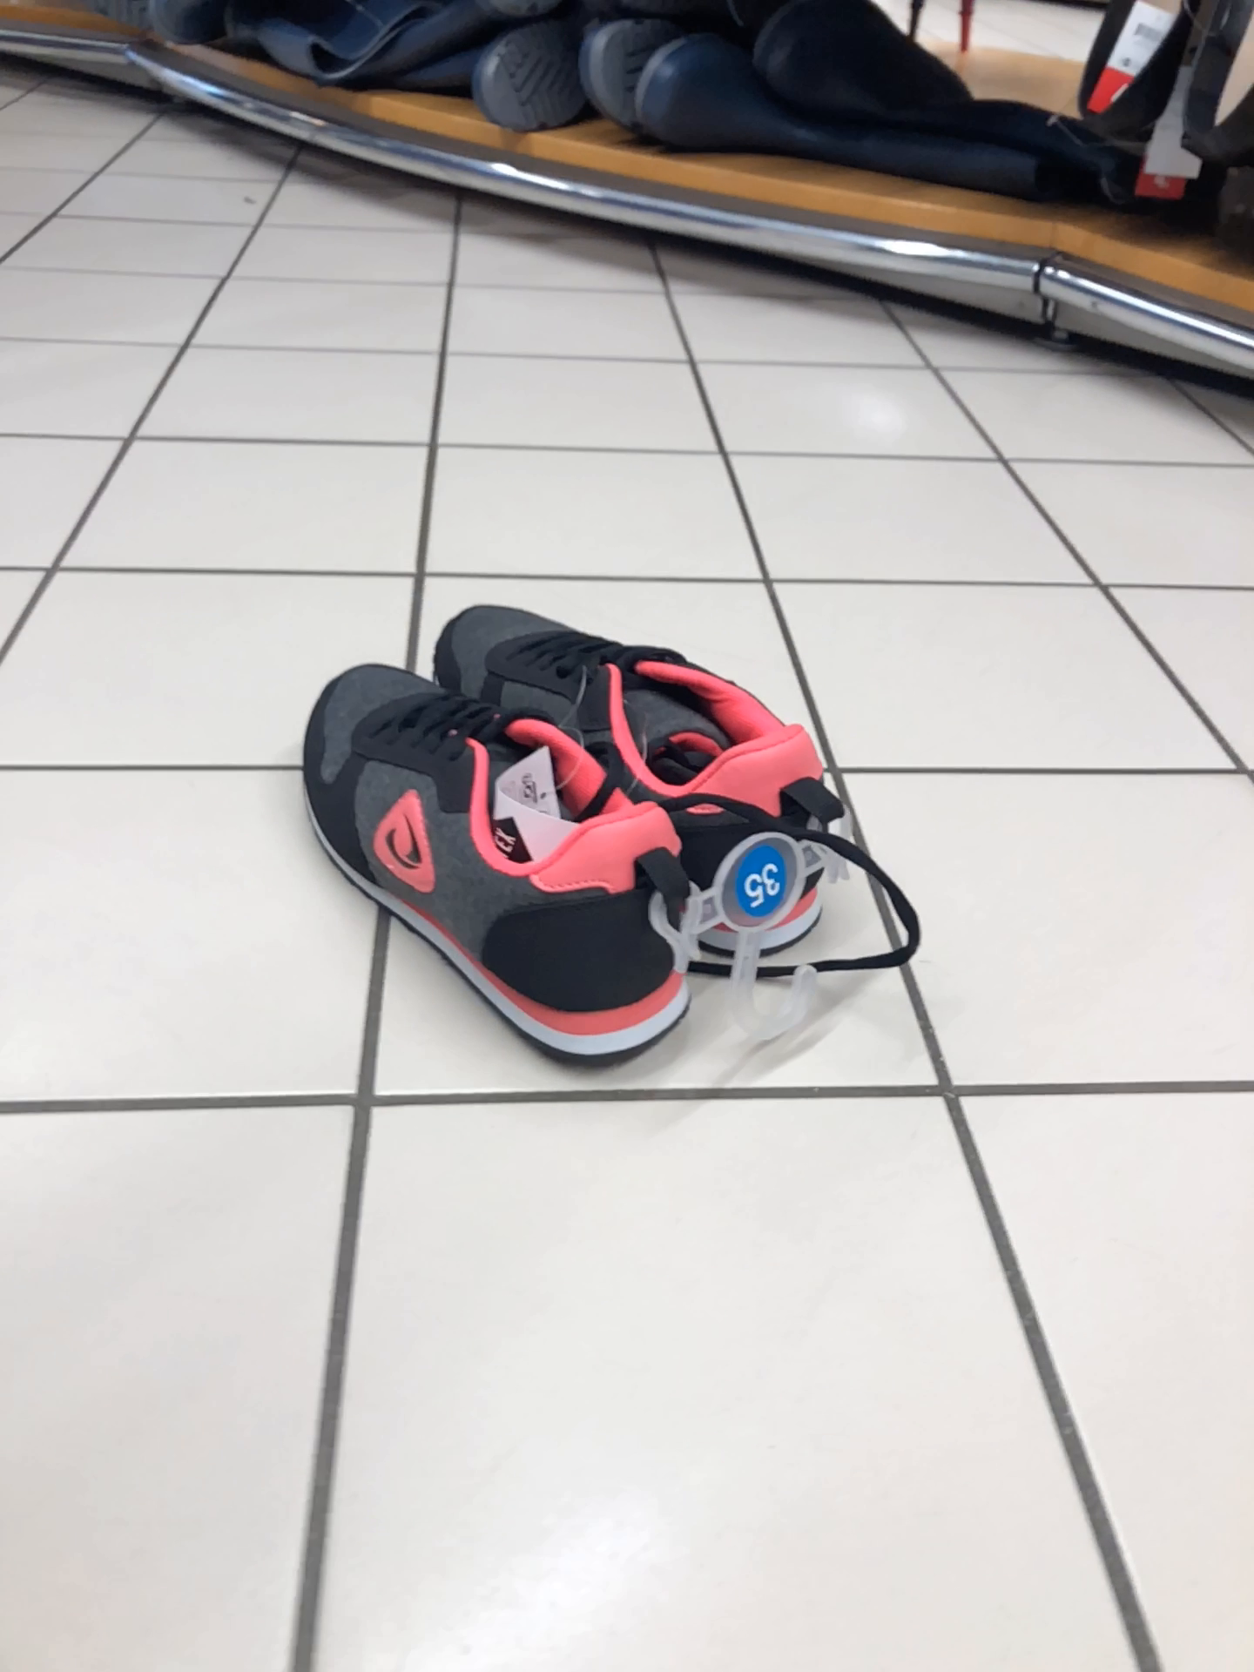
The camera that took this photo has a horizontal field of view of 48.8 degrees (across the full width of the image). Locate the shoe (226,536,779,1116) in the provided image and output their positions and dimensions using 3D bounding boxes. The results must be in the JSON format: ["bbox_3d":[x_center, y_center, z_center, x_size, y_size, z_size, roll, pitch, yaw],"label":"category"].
[{"bbox_3d":[-0.056,-0.017,0.519,0.090,0.099,0.220,-22,43,-31],"label":"shoe"}]

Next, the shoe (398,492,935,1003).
[{"bbox_3d":[0.004,-0.048,0.568,0.090,0.099,0.220,-23,43,-32],"label":"shoe"}]
